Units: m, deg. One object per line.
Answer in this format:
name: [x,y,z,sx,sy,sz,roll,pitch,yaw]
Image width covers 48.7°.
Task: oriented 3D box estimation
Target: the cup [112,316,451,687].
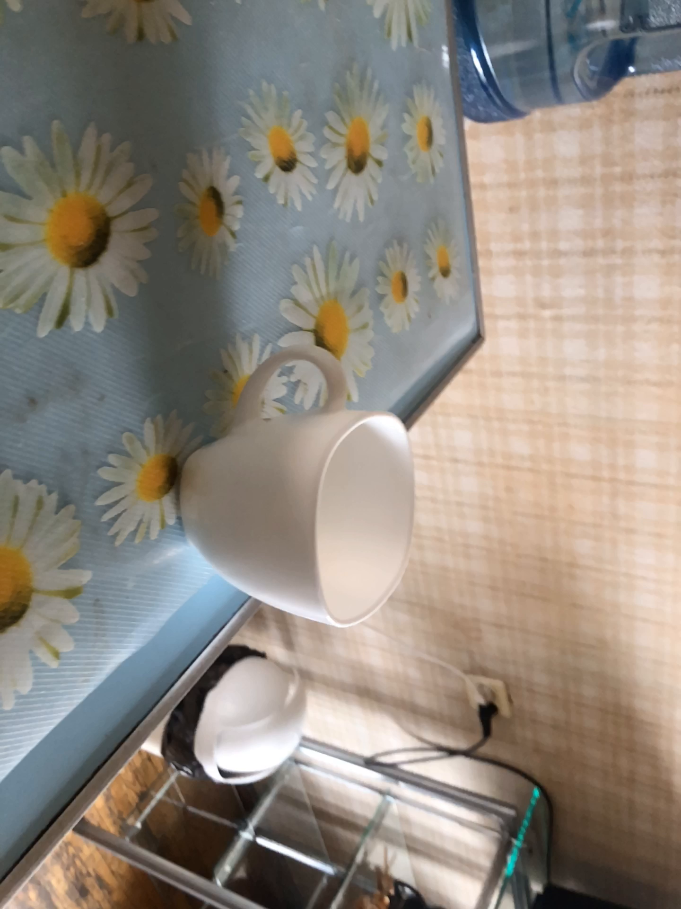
cup: [-0.014,0.013,0.287,0.085,0.070,0.102,-52,137,-42]
